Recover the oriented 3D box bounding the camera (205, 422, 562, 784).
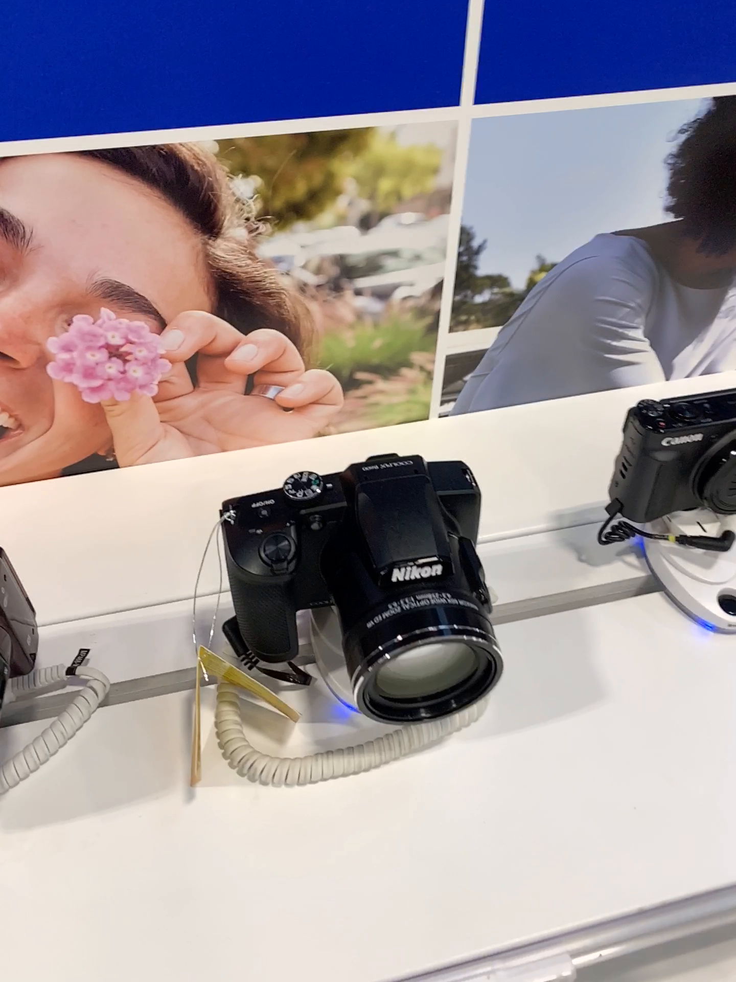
[{"bbox_3d":[0.000,0.044,0.330,0.120,0.080,0.111,-9,44,-9],"label":"camera"}]

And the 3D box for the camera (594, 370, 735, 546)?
[{"bbox_3d":[0.196,-0.019,0.413,0.120,0.060,0.050,-9,44,-9],"label":"camera"}]

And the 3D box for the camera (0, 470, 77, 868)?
[{"bbox_3d":[-0.201,0.067,0.310,0.130,0.080,0.111,-9,44,-9],"label":"camera"}]
